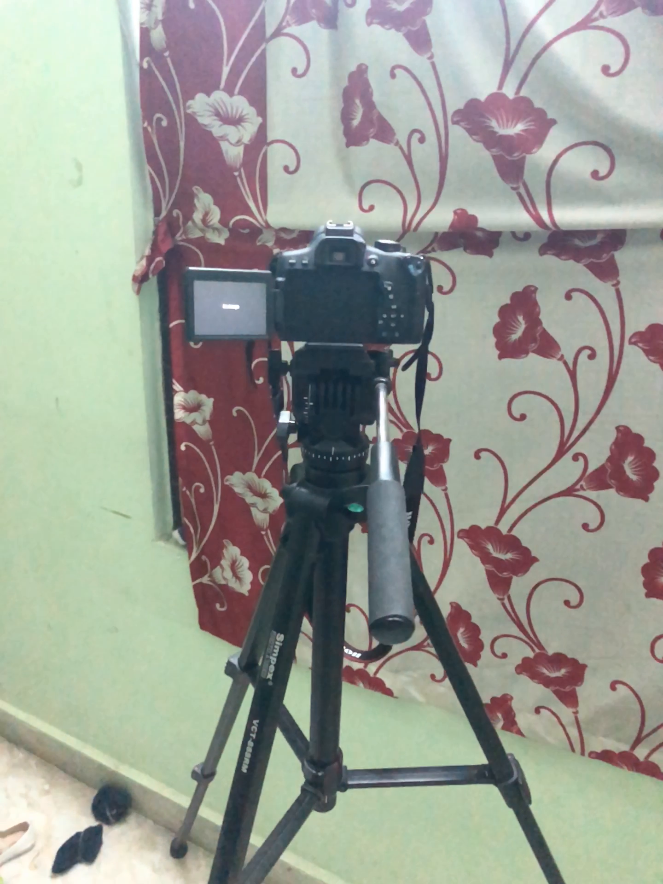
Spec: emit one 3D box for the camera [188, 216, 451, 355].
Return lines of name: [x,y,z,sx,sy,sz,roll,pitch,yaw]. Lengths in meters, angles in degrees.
camera: [-0.008,-0.141,0.635,0.200,0.087,0.141,2,23,2]
